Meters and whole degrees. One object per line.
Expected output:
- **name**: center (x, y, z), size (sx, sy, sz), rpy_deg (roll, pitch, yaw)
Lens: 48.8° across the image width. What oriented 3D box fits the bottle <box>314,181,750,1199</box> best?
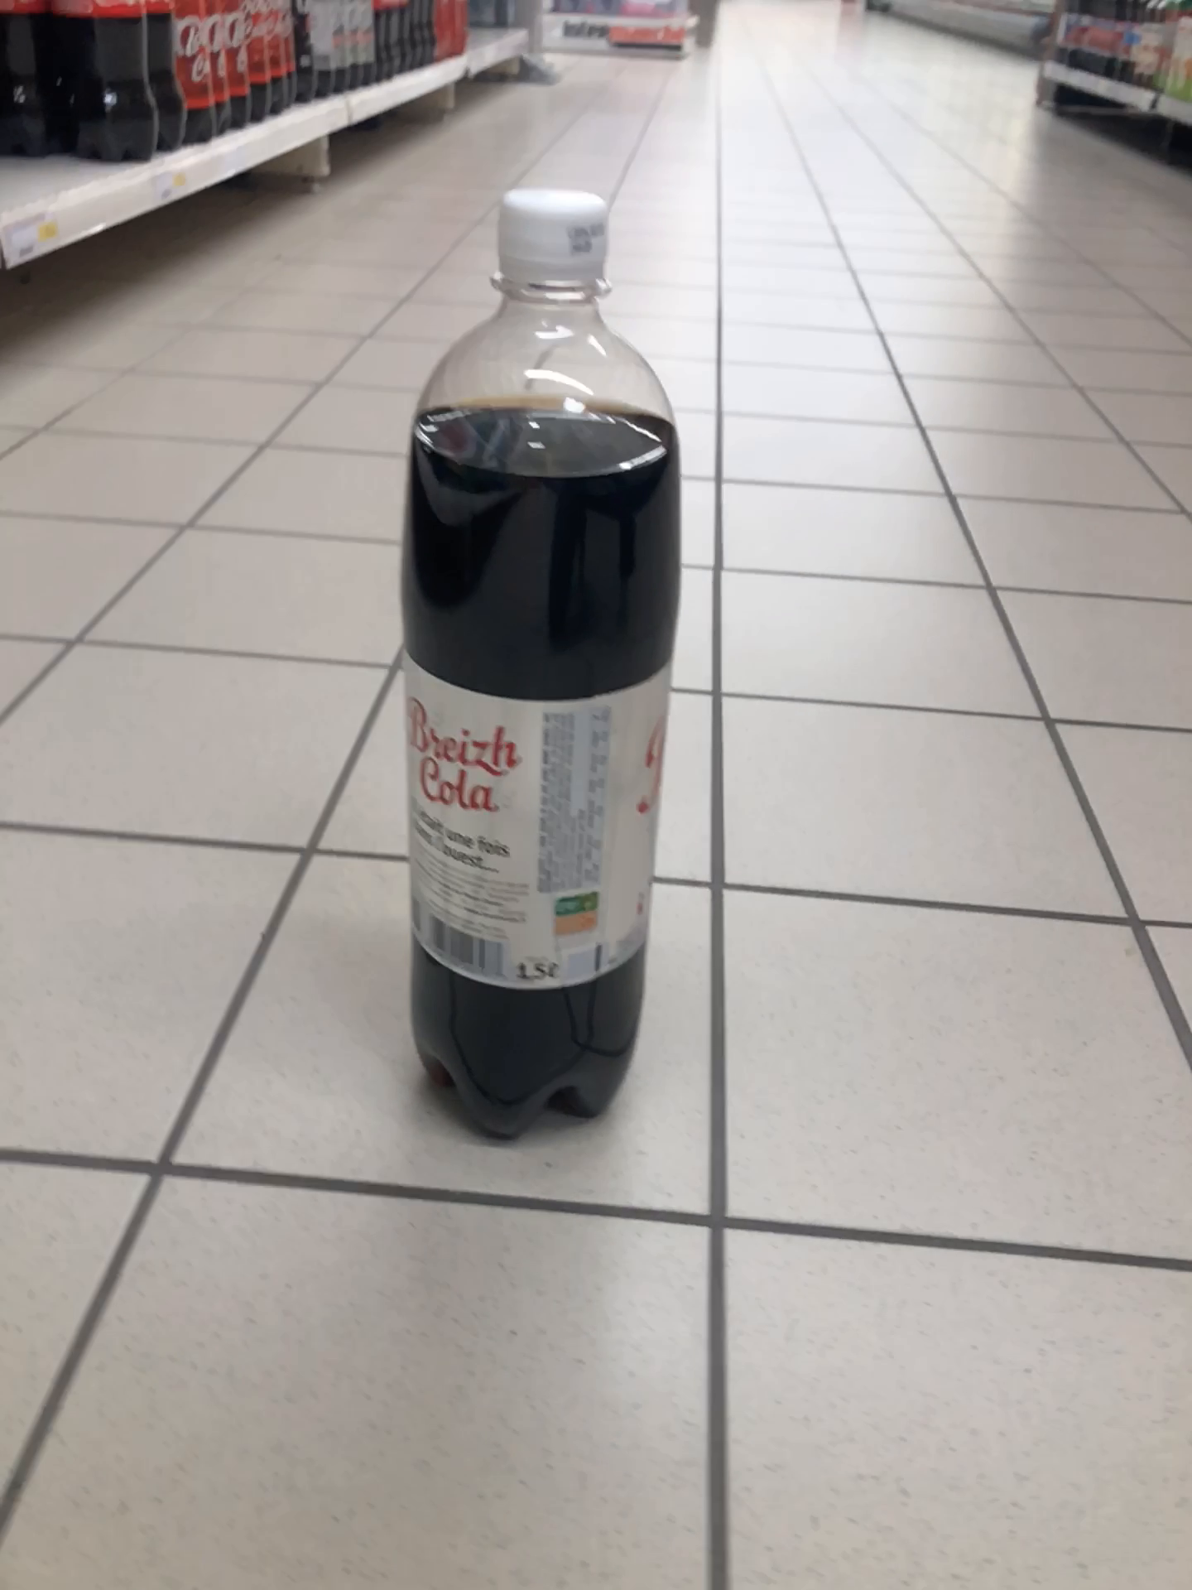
- **bottle**: center (-0.029, -0.025, 0.442), size (0.090, 0.318, 0.100), rpy_deg (-10, 33, -21)
